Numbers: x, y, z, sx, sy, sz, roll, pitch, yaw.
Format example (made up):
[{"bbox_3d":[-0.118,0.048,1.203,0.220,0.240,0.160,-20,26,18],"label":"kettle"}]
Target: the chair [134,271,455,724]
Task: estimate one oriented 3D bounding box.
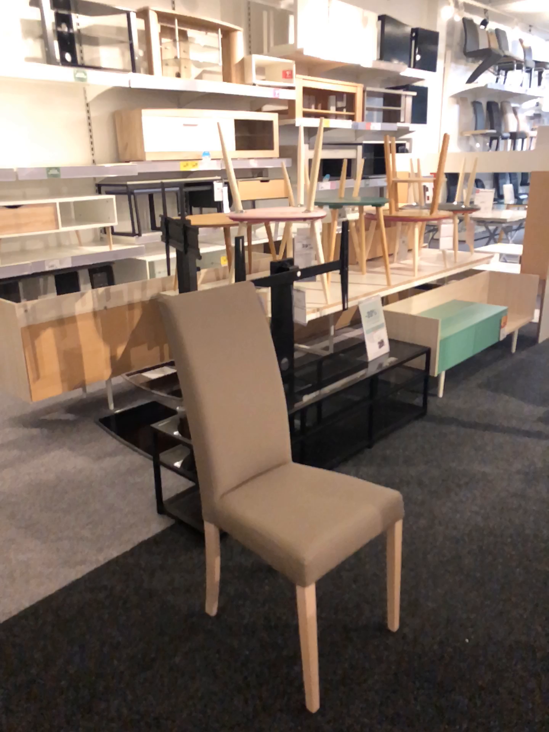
[{"bbox_3d":[0.051,0.275,1.669,0.630,0.946,0.533,16,25,42],"label":"chair"}]
